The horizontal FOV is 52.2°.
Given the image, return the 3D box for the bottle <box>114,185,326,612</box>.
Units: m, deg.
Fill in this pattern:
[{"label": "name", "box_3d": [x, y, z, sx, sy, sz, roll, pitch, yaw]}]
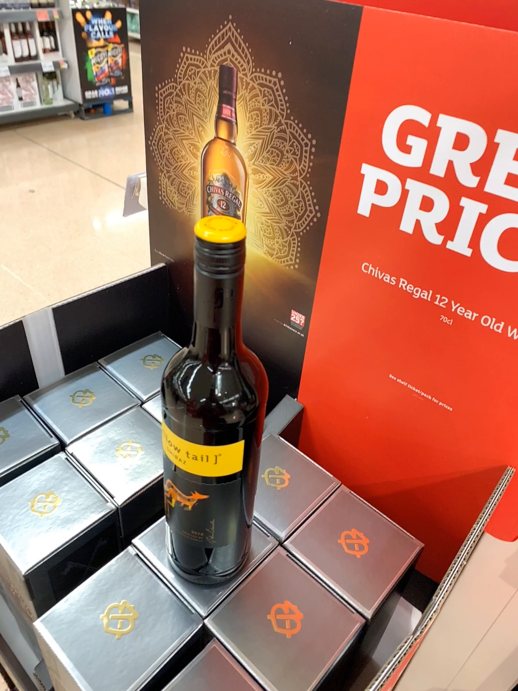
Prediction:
[{"label": "bottle", "box_3d": [-0.032, 0.057, 0.372, 0.078, 0.304, 0.081, 4, 38, -3]}]
